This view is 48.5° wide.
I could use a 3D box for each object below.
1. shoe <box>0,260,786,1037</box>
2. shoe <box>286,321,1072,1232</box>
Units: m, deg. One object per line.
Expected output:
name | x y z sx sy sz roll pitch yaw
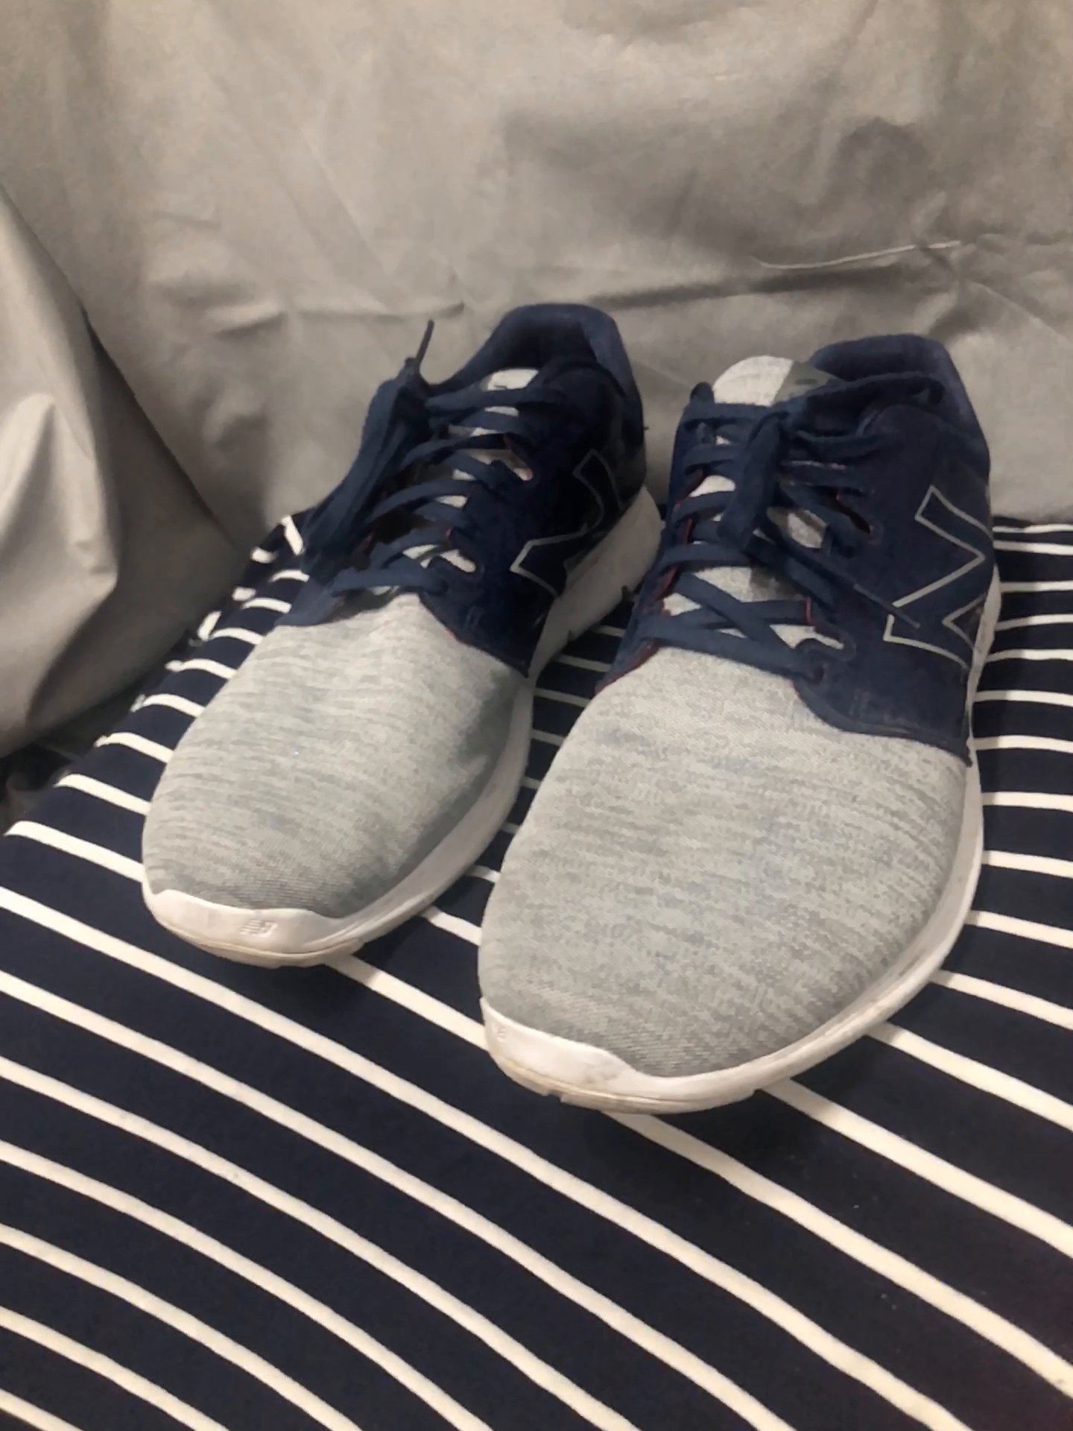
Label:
shoe | -0.022 -0.060 0.400 0.120 0.089 0.322 10 39 25
shoe | 0.068 -0.020 0.316 0.120 0.079 0.262 10 39 25
